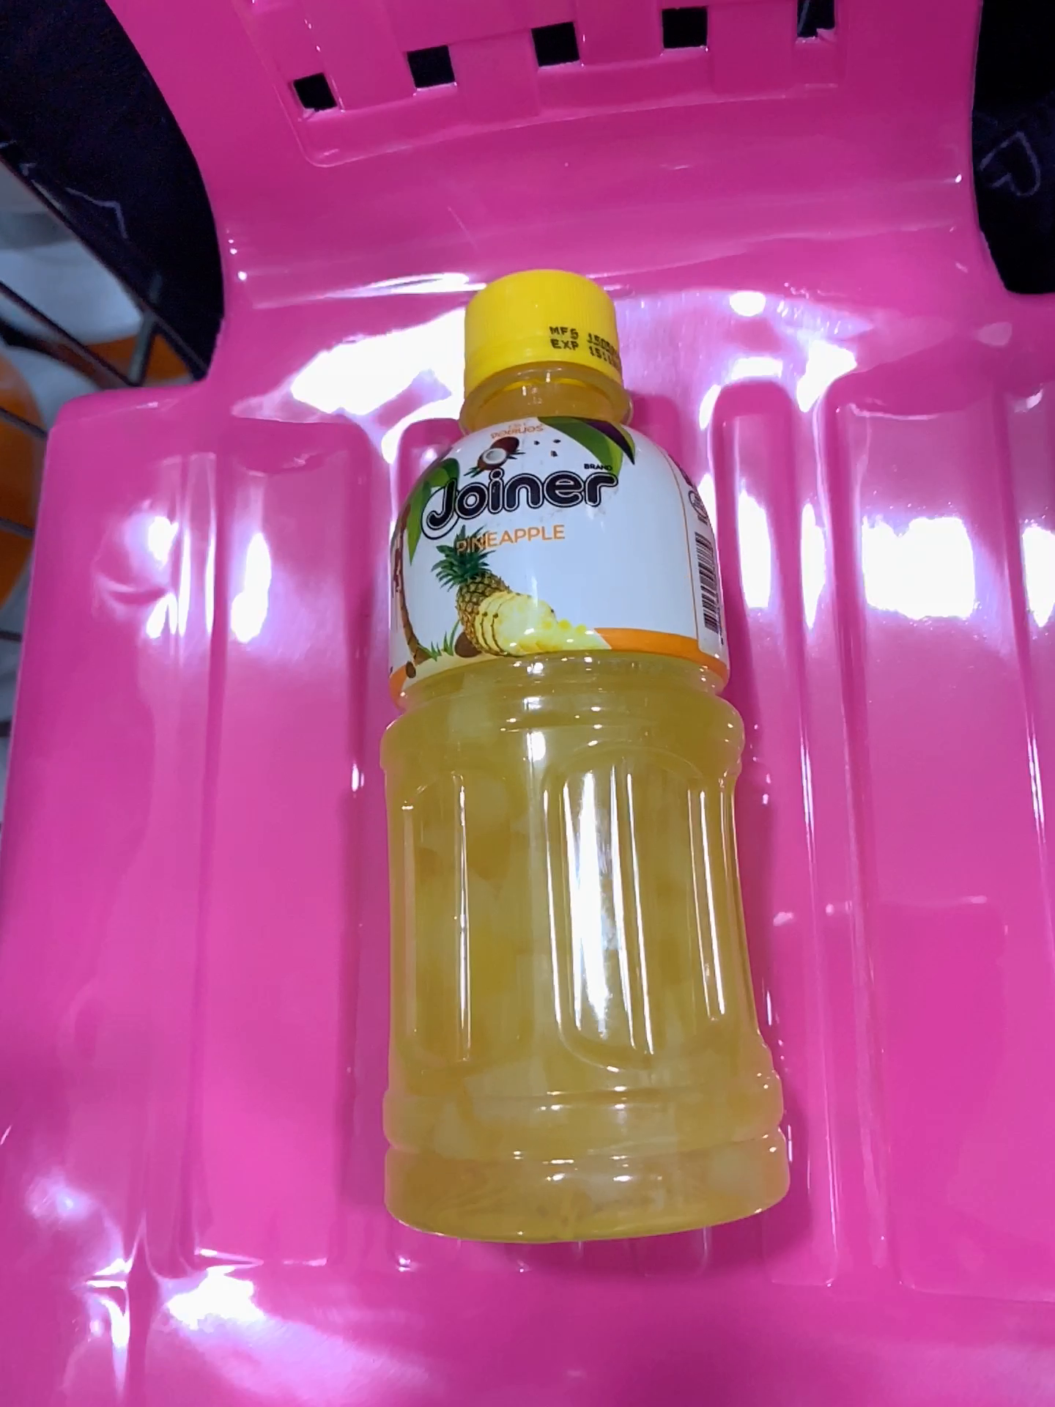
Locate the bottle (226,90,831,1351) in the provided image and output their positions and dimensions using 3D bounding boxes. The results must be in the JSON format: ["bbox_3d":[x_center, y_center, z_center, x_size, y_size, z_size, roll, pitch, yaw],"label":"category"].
[{"bbox_3d":[-0.001,0.003,0.179,0.070,0.060,0.160,-8,79,27],"label":"bottle"}]
